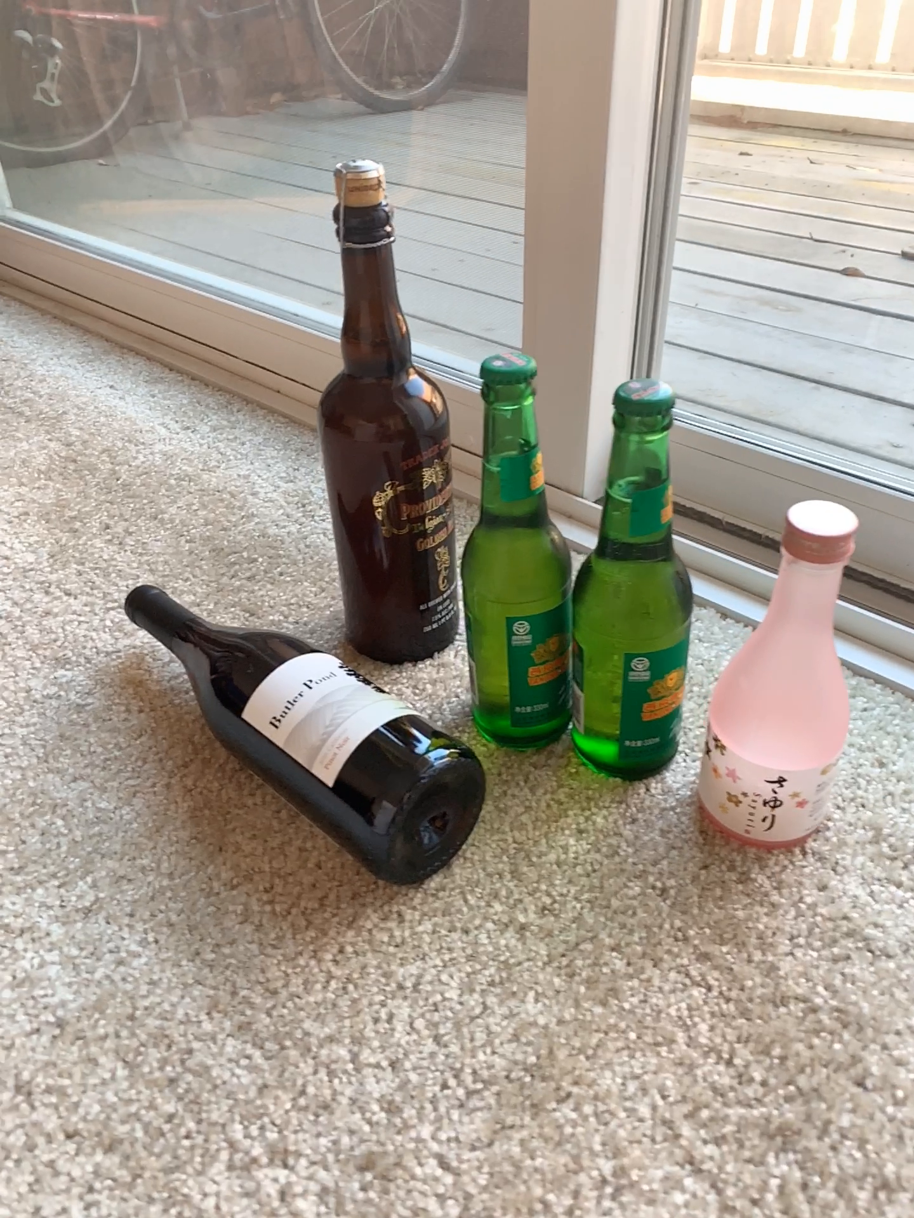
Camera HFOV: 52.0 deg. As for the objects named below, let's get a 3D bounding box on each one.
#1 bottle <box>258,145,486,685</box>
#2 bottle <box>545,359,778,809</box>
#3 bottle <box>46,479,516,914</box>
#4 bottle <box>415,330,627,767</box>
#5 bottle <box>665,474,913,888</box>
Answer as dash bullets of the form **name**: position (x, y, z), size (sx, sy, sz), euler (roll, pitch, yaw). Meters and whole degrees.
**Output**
- **bottle**: position (-0.039, -0.103, 0.548), size (0.080, 0.288, 0.080), euler (-1, 36, 1)
- **bottle**: position (0.100, -0.008, 0.495), size (0.070, 0.219, 0.070), euler (-1, 36, 1)
- **bottle**: position (-0.104, 0.033, 0.505), size (0.281, 0.080, 0.070), euler (32, 47, 28)
- **bottle**: position (0.032, -0.027, 0.493), size (0.070, 0.209, 0.070), euler (-1, 36, 1)
- **bottle**: position (0.160, 0.037, 0.456), size (0.070, 0.179, 0.070), euler (-1, 36, 1)
